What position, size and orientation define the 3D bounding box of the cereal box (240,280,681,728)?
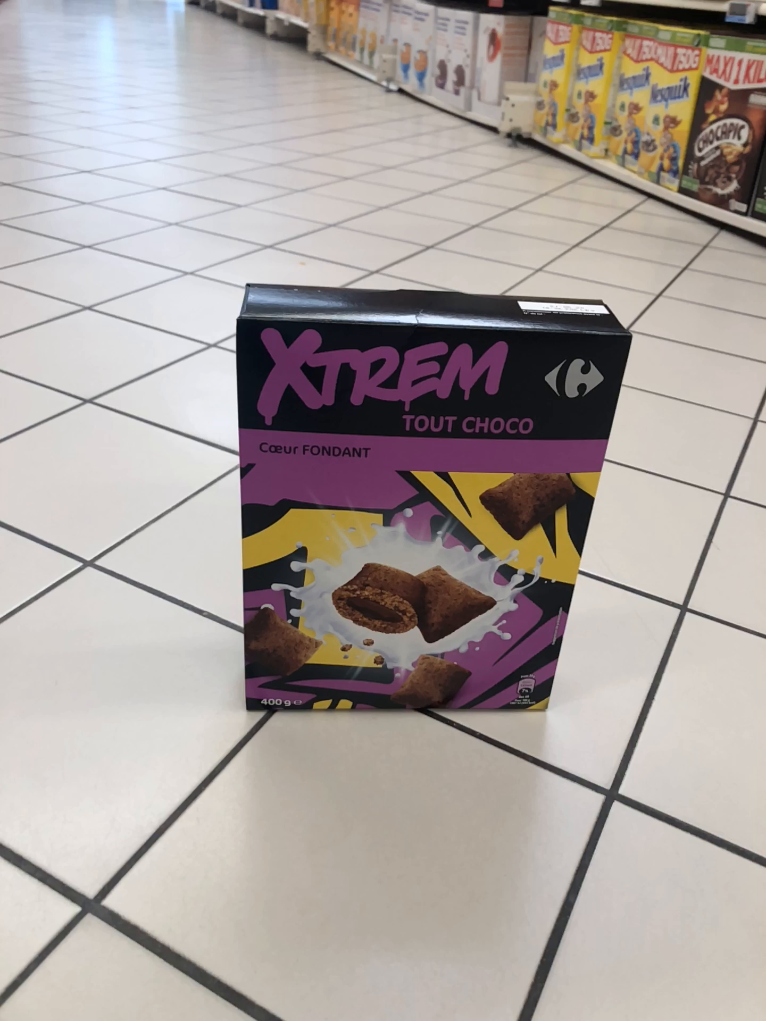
[{"bbox_3d":[0.026,0.007,0.469,0.200,0.239,0.070,2,31,-5],"label":"cereal box"}]
